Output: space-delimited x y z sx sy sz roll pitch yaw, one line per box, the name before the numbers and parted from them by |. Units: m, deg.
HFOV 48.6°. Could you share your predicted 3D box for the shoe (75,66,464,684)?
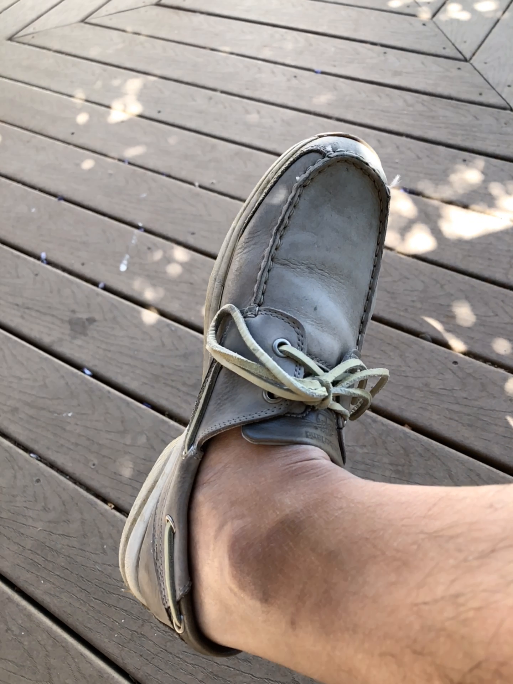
shoe | 0.015 0.024 0.344 0.083 0.116 0.326 7 77 55
